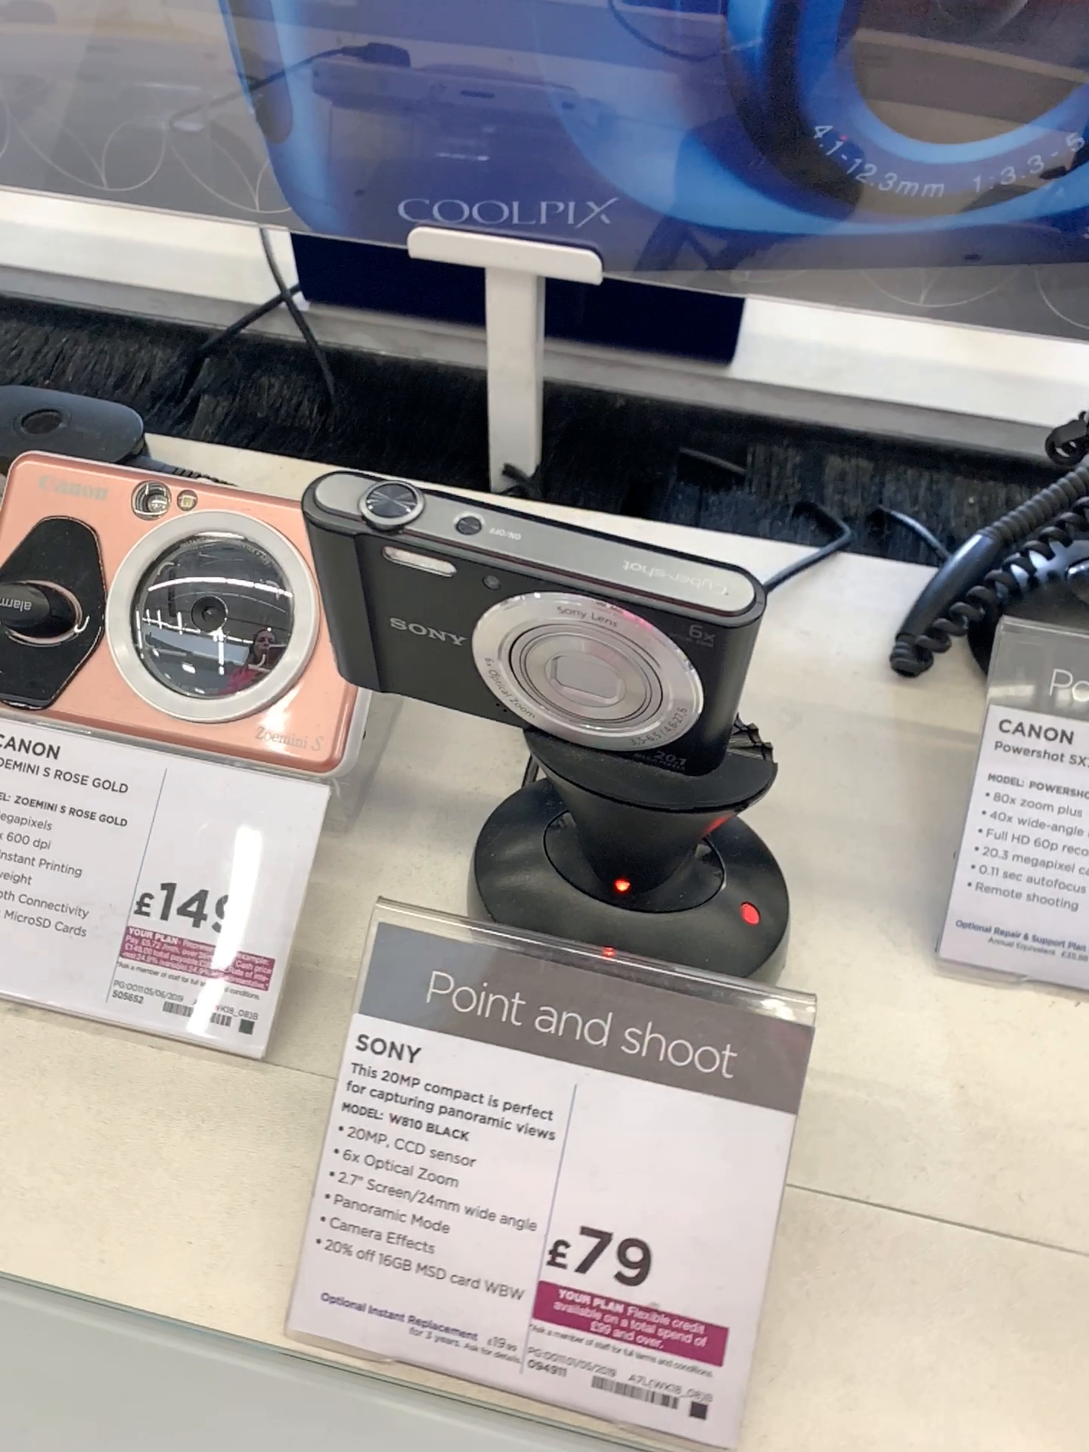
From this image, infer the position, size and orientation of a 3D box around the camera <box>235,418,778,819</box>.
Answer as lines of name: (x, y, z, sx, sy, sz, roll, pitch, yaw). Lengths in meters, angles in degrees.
camera: (-0.008, -0.022, 0.240, 0.100, 0.060, 0.030, 15, 54, 9)
